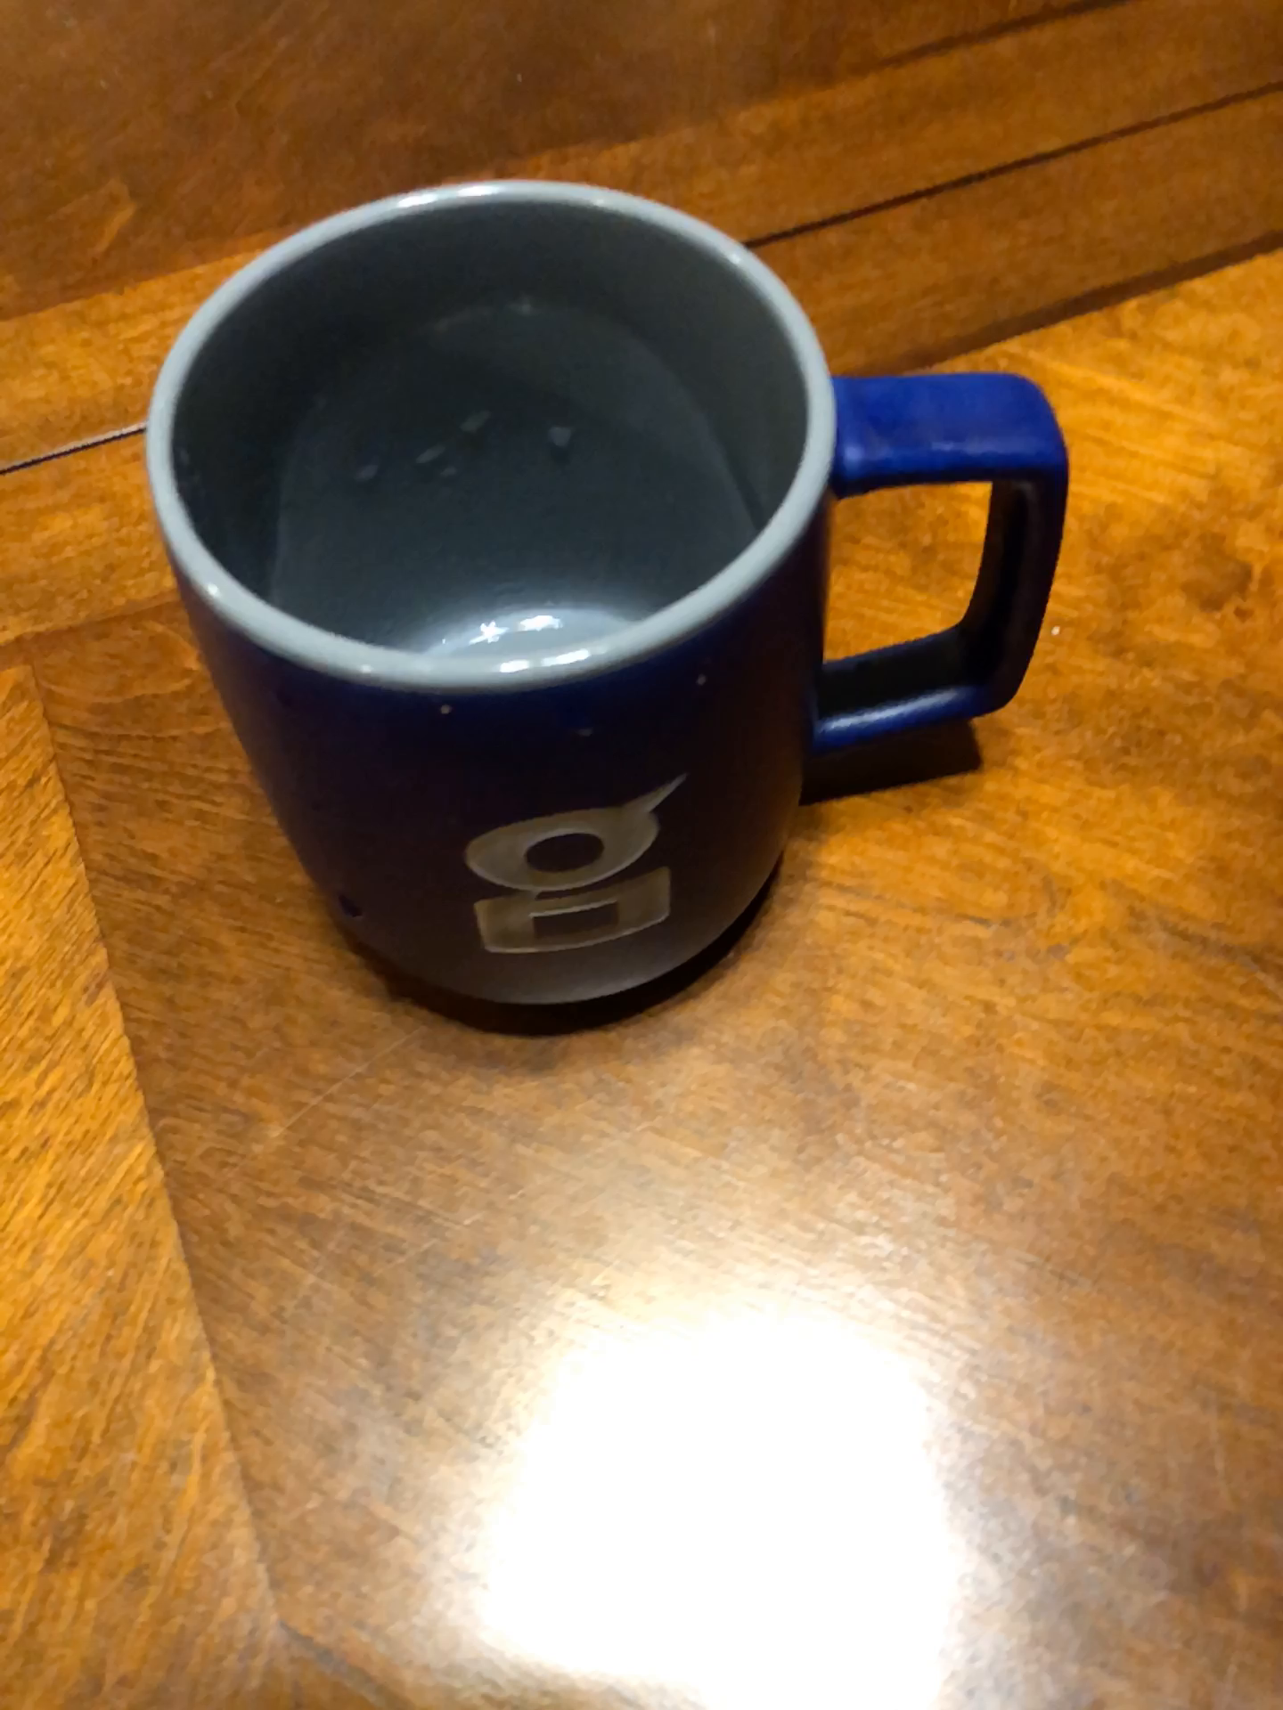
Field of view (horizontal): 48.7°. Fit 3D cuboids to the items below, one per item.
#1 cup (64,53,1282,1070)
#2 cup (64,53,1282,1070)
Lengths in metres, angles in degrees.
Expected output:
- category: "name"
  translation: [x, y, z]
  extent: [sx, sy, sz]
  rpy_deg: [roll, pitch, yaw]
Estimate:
- category: "cup"
  translation: [-0.003, -0.043, 0.228]
  extent: [0.140, 0.100, 0.100]
  rpy_deg: [-10, 60, -5]
- category: "cup"
  translation: [-0.003, -0.043, 0.228]
  extent: [0.140, 0.100, 0.100]
  rpy_deg: [-10, 60, -5]
